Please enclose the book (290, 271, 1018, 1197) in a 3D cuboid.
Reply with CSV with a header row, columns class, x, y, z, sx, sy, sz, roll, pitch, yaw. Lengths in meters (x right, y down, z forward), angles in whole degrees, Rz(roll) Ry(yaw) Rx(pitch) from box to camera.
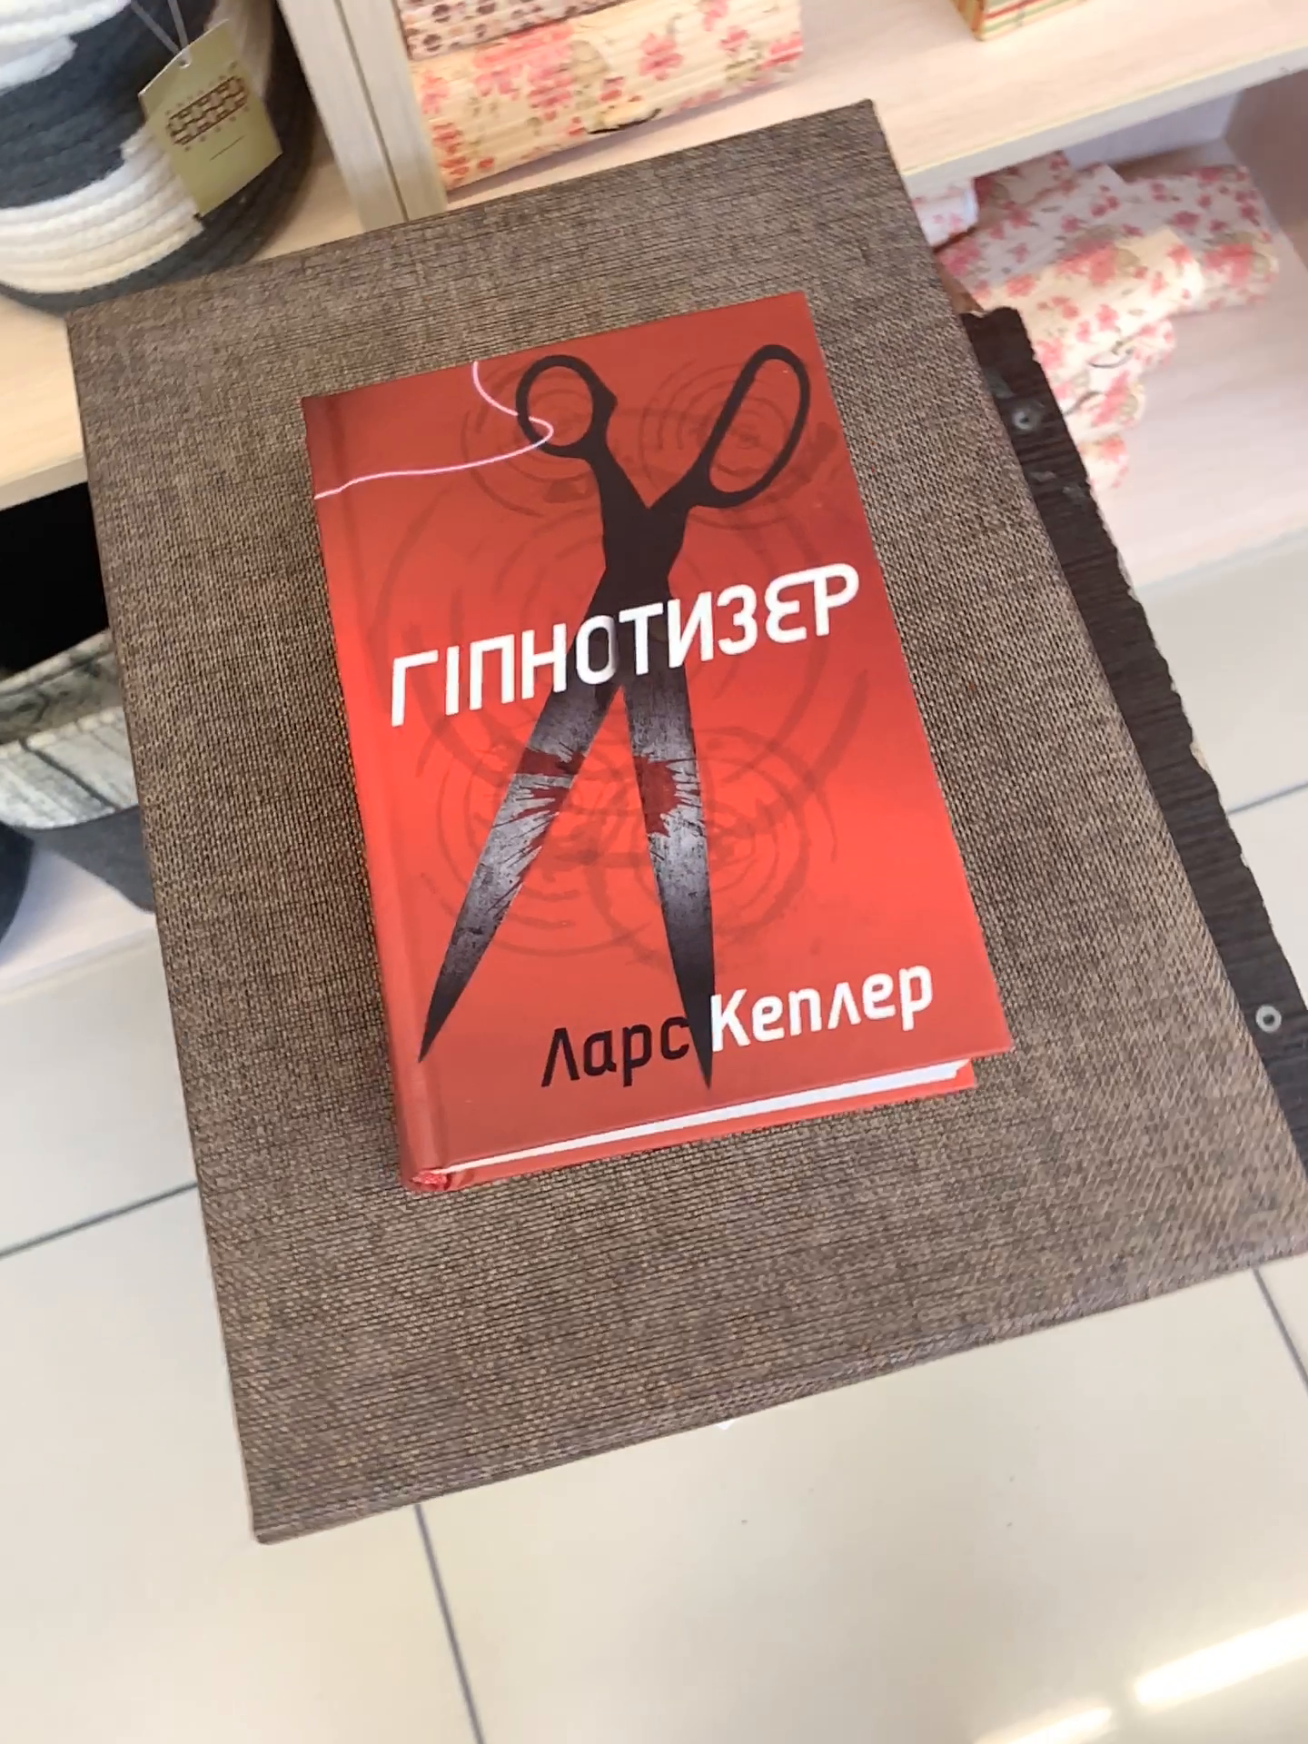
class,x,y,z,sx,sy,sz,roll,pitch,yaw
book,-0.006,-0.033,0.328,0.131,0.060,0.195,-11,72,3
